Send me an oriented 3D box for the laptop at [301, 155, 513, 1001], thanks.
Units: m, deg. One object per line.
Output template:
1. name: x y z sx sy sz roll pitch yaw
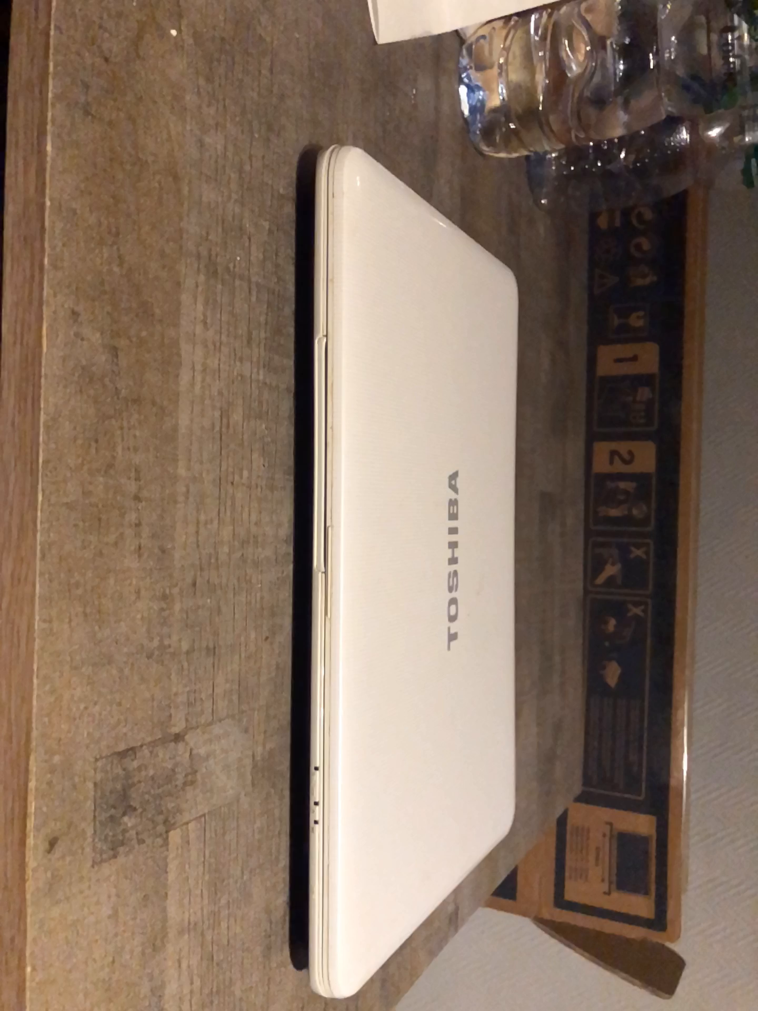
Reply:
1. laptop: 0.029 0.031 0.478 0.229 0.020 0.375 2 88 -62
